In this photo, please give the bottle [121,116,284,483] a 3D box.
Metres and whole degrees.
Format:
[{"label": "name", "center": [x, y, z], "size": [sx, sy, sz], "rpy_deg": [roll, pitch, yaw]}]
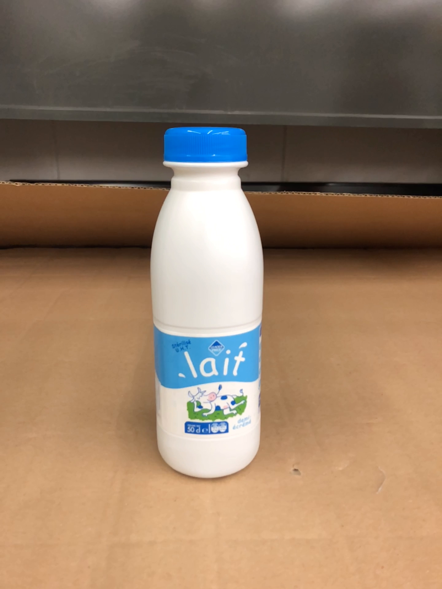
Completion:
[{"label": "bottle", "center": [-0.010, 0.002, 0.272], "size": [0.070, 0.189, 0.070], "rpy_deg": [1, 19, 0]}]
